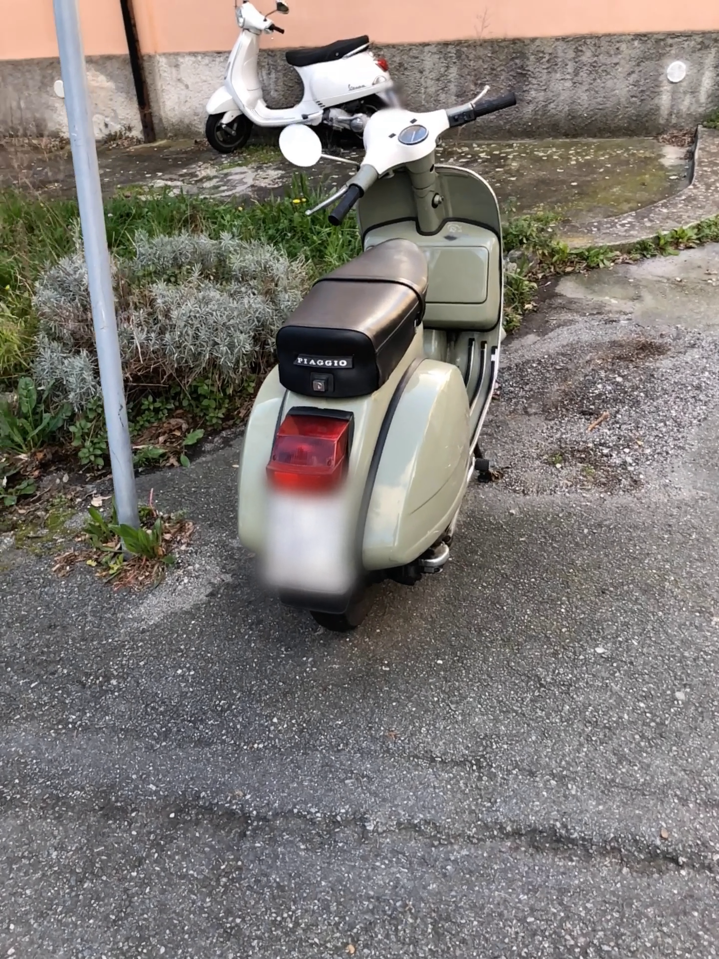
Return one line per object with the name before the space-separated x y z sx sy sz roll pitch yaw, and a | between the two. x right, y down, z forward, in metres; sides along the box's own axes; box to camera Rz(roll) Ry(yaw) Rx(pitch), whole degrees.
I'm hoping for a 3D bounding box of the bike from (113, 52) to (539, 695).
bike | 0.070 -0.424 2.063 0.621 1.027 1.449 6 35 11
